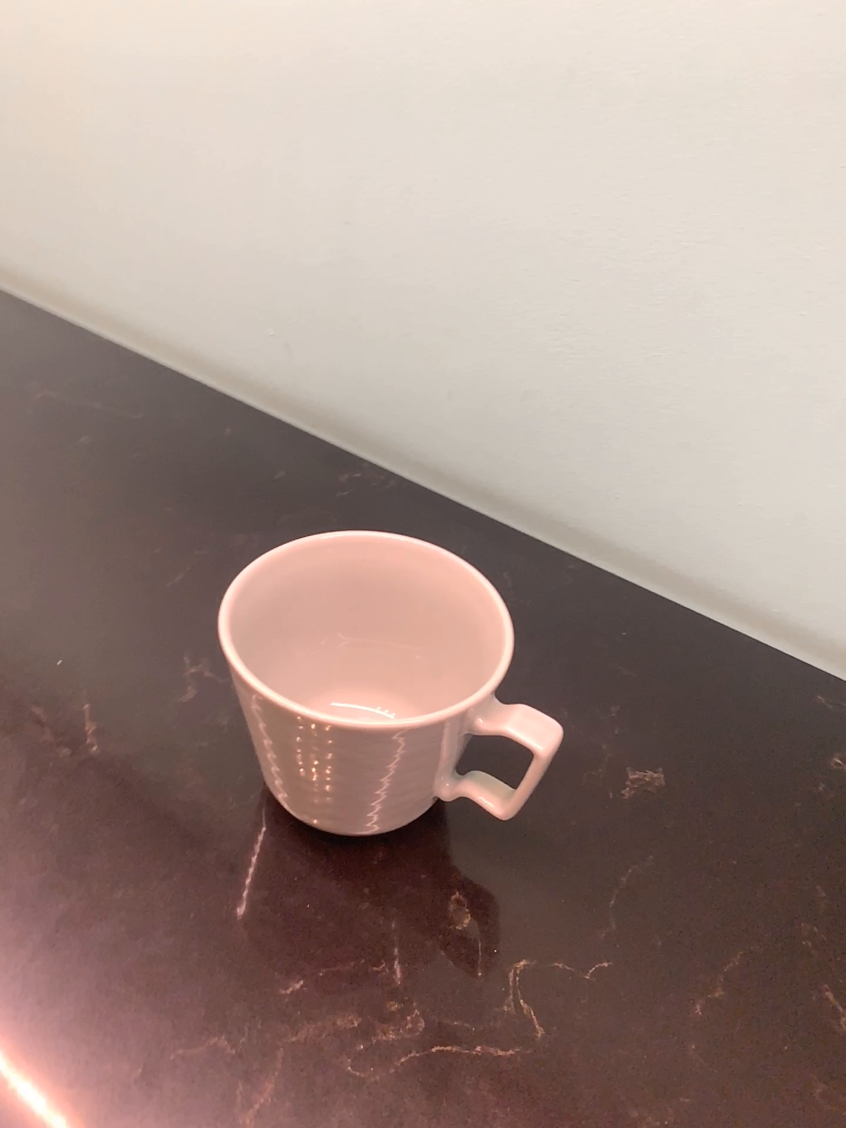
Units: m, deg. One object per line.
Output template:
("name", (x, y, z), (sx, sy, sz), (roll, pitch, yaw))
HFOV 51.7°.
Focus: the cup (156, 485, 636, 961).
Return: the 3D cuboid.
("cup", (-0.011, 0.049, 0.322), (0.130, 0.080, 0.100), (27, 42, 24))
